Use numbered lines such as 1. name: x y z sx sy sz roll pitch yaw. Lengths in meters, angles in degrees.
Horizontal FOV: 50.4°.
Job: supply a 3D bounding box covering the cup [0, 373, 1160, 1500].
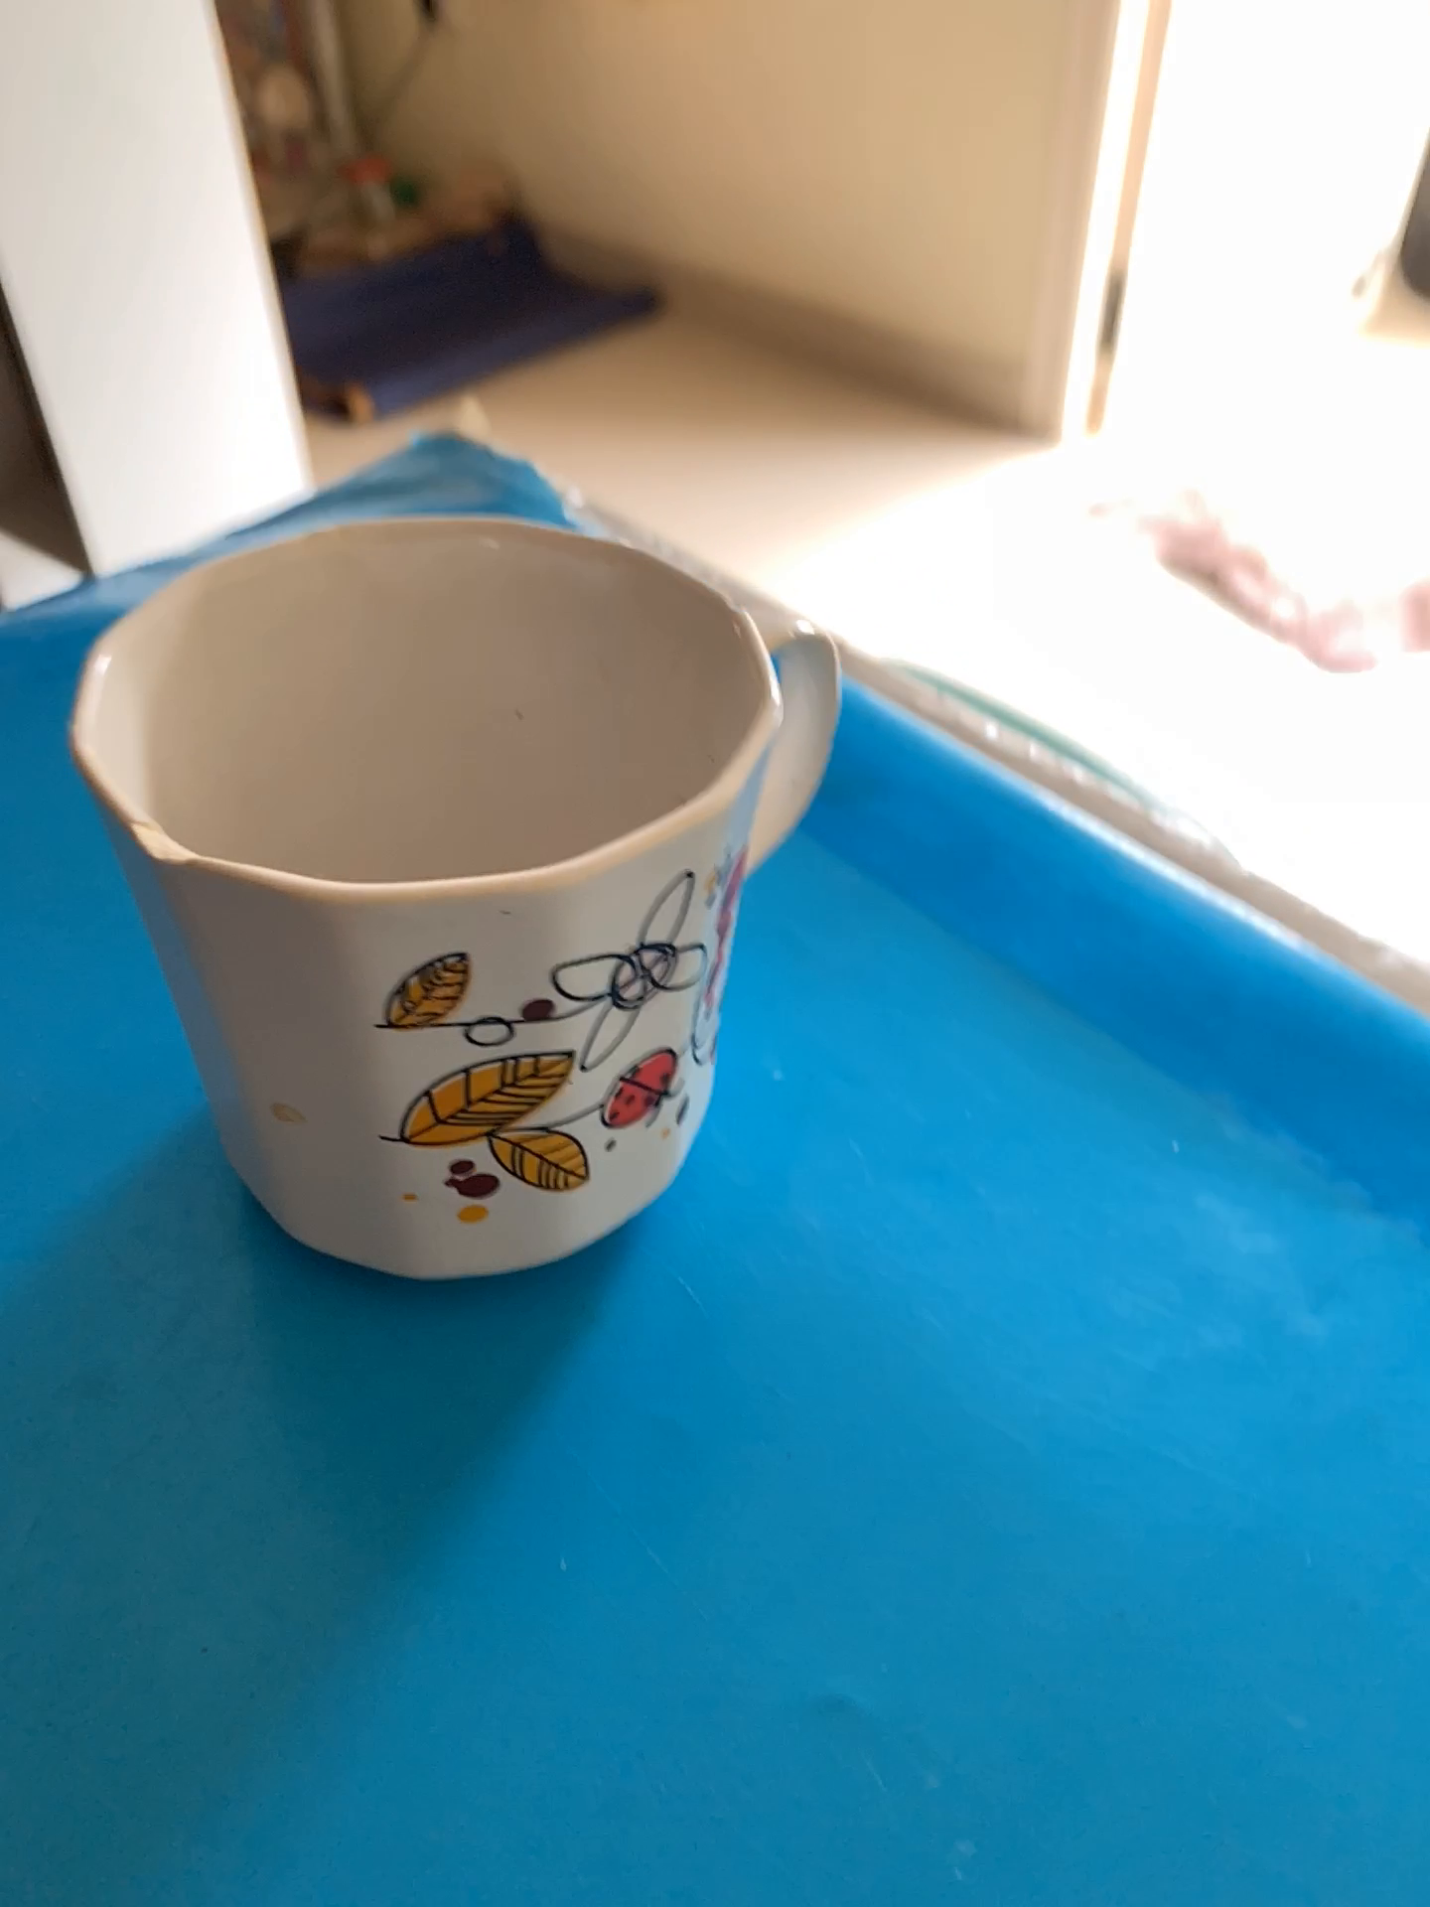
1. cup: -0.020 -0.010 0.163 0.100 0.060 0.070 -24 47 -22
